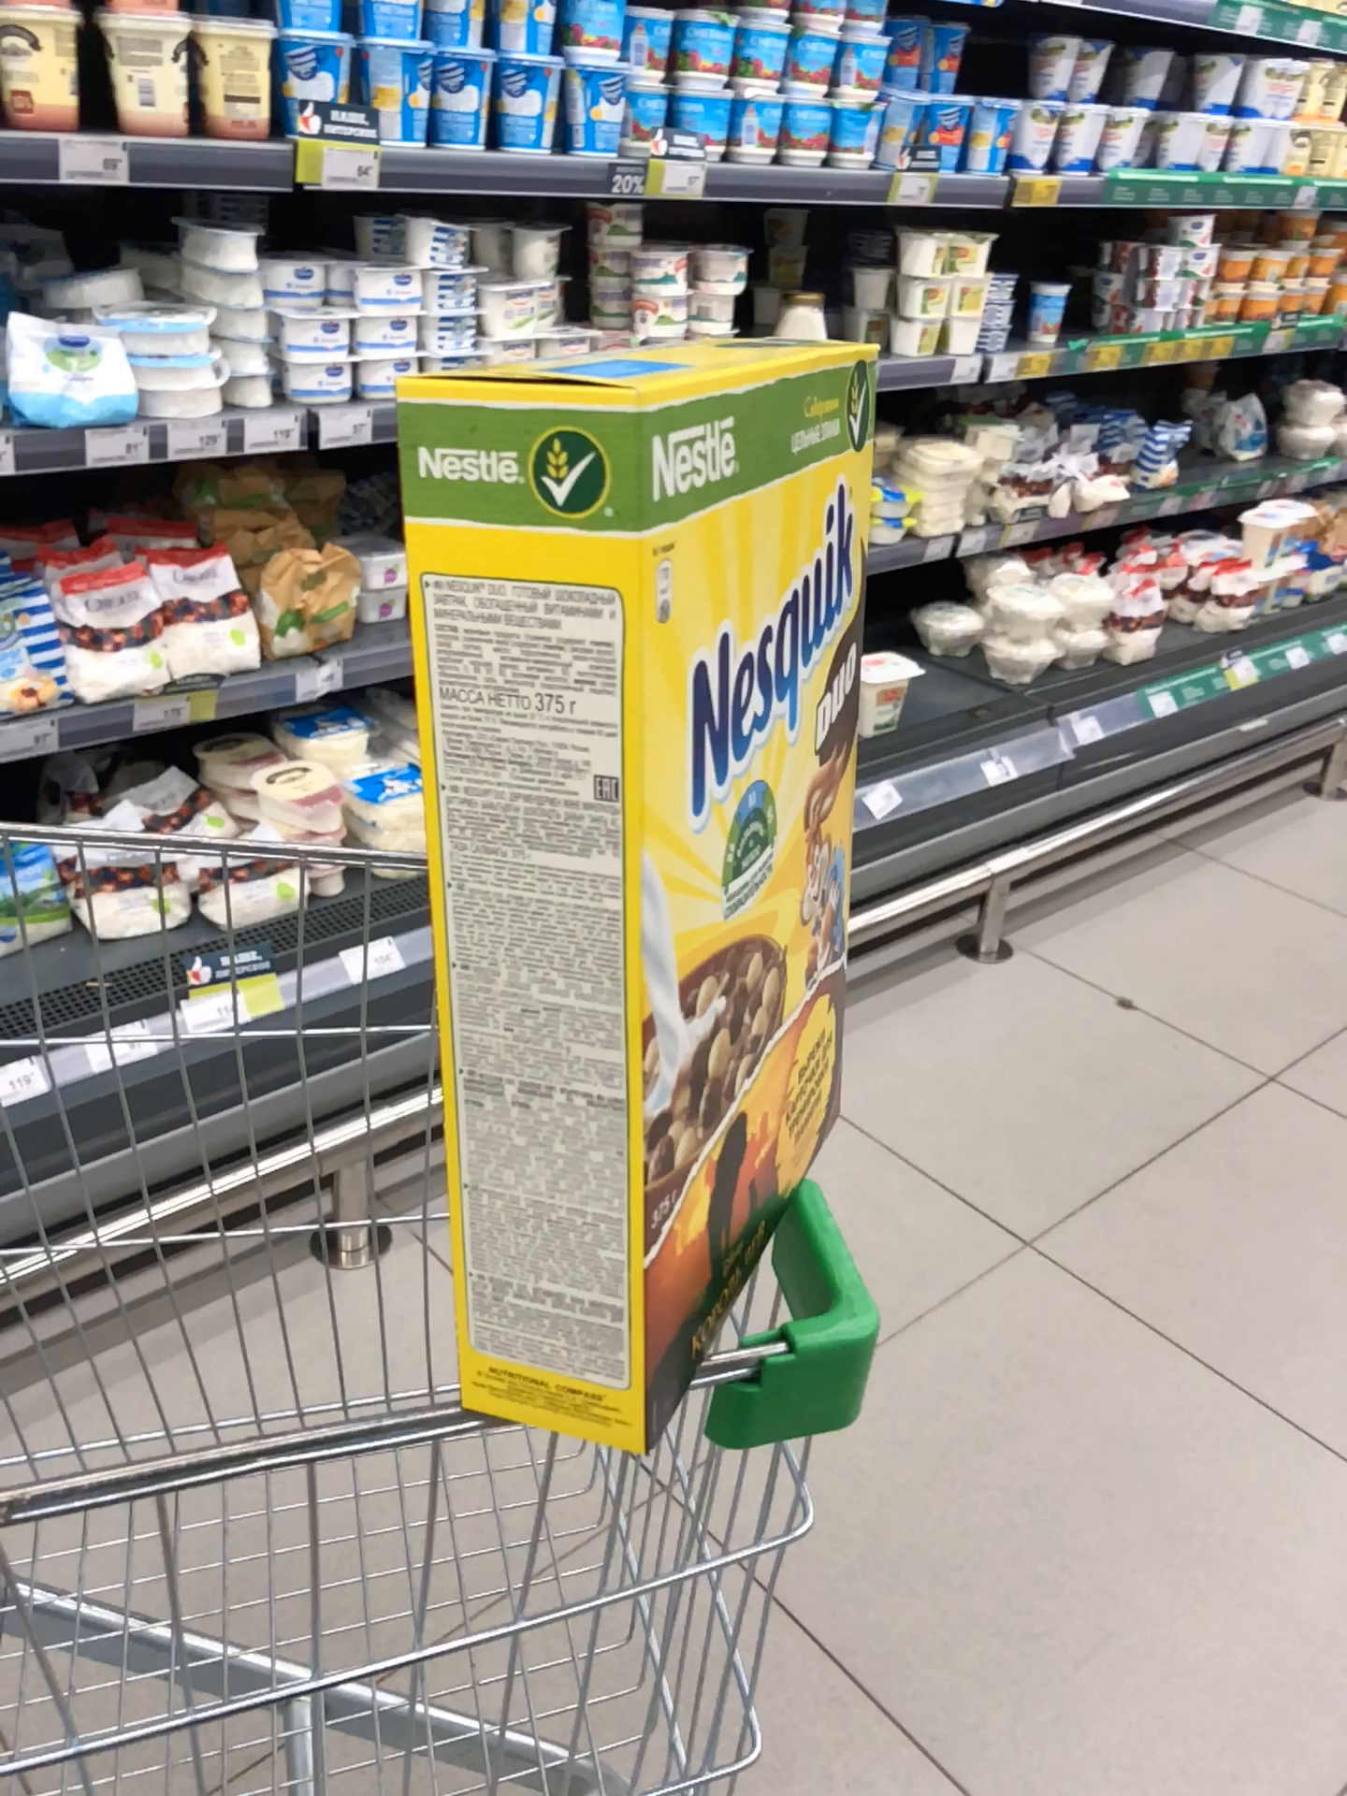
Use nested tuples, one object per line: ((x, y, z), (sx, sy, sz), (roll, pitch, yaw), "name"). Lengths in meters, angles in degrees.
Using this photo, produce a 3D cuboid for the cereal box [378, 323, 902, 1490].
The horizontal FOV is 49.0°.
((0.004, -0.015, 0.430), (0.060, 0.279, 0.201), (9, 24, 20), "cereal box")
